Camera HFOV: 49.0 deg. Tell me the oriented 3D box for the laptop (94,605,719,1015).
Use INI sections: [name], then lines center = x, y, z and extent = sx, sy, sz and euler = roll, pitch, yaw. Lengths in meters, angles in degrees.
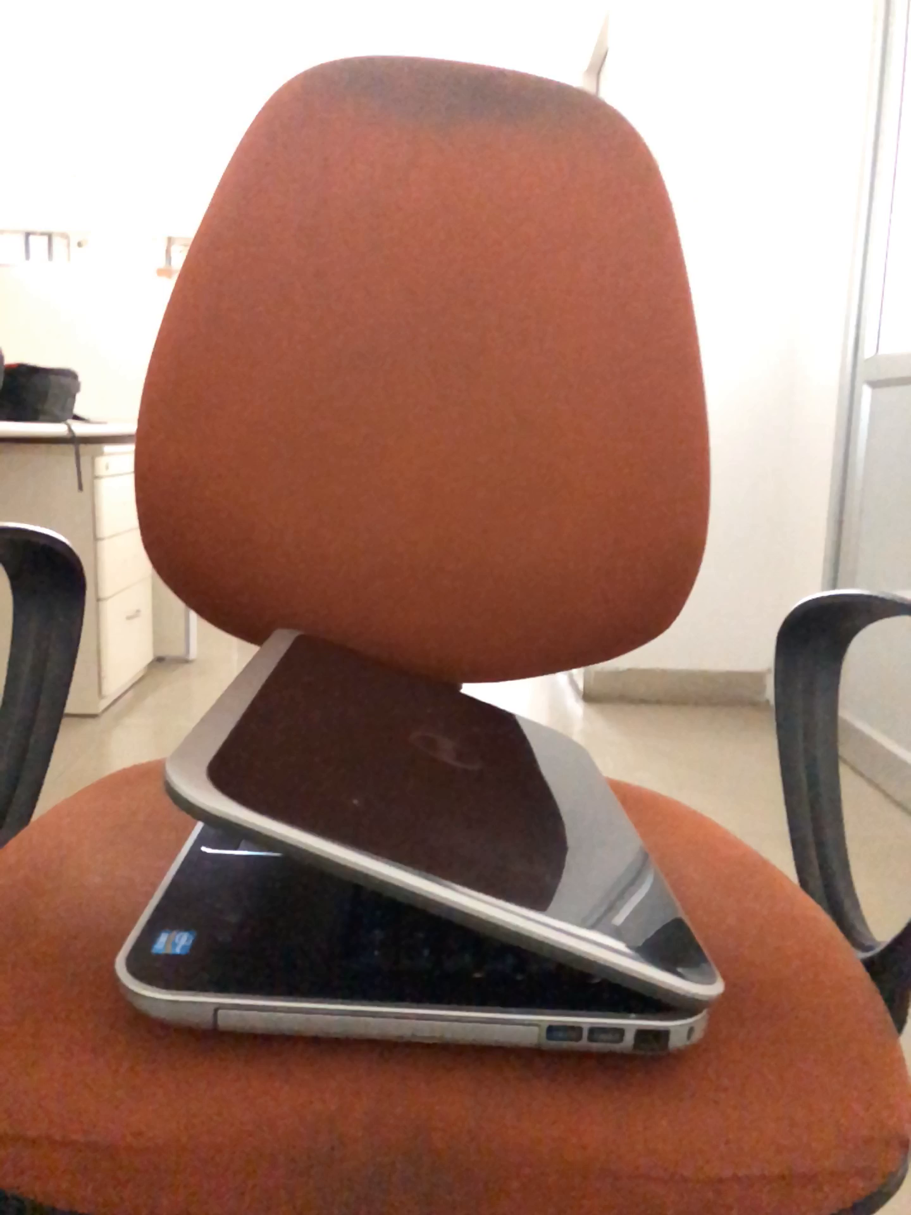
[laptop]
center = -0.025, 0.079, 0.561
extent = 0.233, 0.091, 0.367
euler = 4, 8, -3
